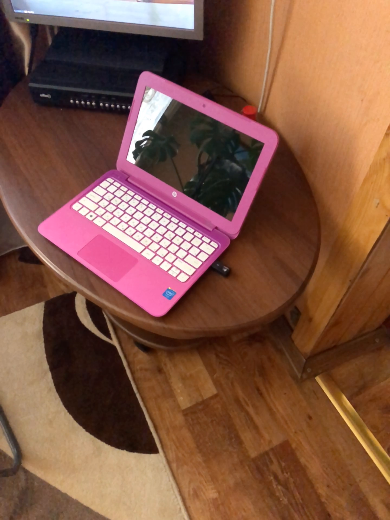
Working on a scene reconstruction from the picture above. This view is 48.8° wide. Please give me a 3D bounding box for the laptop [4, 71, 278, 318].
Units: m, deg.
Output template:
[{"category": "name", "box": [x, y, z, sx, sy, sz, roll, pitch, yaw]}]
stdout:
[{"category": "laptop", "box": [-0.074, -0.122, 0.696, 0.279, 0.150, 0.296, 33, 61, 21]}]
